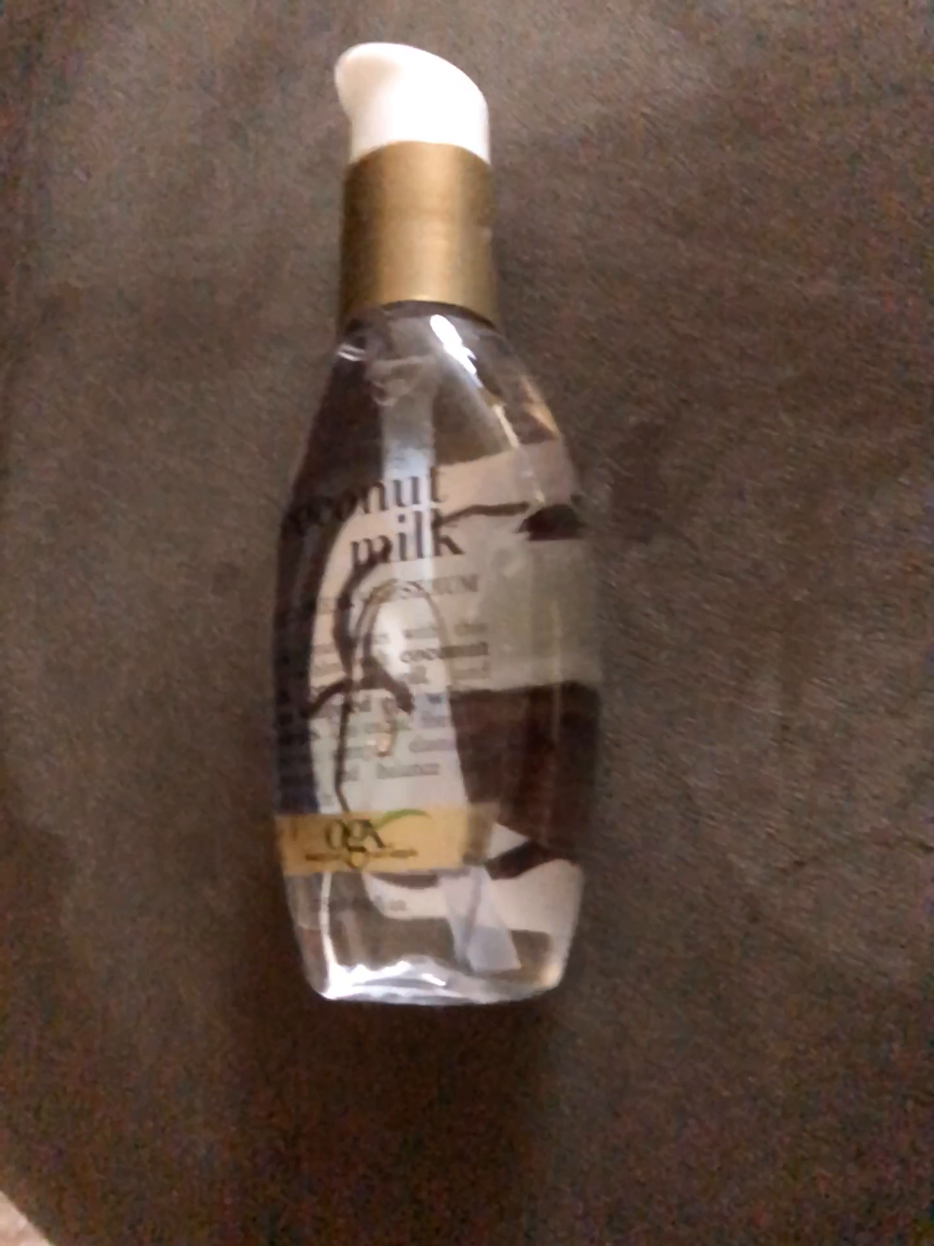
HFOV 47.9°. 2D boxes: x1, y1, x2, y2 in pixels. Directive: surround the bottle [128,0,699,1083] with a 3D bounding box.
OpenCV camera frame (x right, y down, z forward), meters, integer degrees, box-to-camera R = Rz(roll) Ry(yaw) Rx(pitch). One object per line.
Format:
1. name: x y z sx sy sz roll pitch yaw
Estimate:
1. bottle: -0.007 -0.027 0.163 0.070 0.040 0.170 -5 79 25
